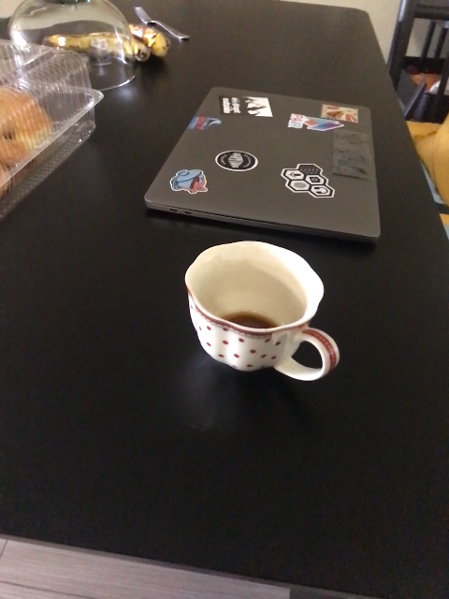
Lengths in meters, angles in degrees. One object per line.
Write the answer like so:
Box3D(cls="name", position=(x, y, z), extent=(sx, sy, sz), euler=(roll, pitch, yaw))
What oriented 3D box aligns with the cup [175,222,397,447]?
Box3D(cls="cup", position=(0.033, 0.016, 0.337), extent=(0.090, 0.069, 0.120), euler=(-19, 46, -25))
